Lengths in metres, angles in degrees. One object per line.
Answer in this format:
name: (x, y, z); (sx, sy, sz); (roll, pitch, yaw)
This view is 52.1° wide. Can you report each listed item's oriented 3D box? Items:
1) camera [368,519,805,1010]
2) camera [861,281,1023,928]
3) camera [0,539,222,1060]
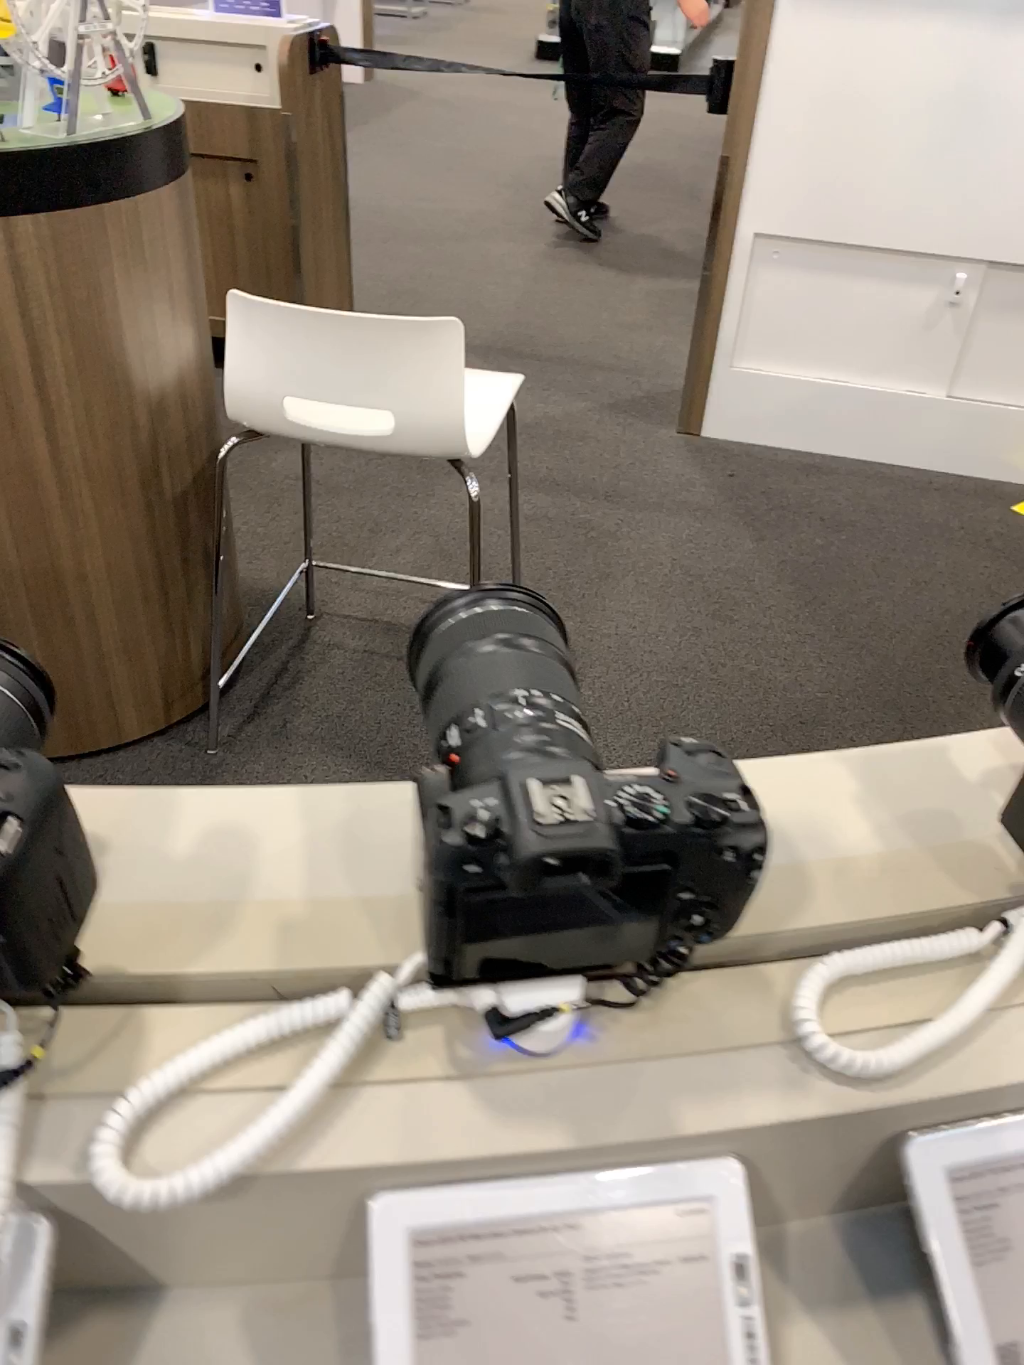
camera: (0.015, 0.023, 0.471); (0.140, 0.099, 0.201); (-4, 39, -10)
camera: (0.291, -0.039, 0.464); (0.150, 0.219, 0.171); (-4, 39, -11)
camera: (-0.218, 0.041, 0.426); (0.150, 0.119, 0.171); (2, 38, -2)
